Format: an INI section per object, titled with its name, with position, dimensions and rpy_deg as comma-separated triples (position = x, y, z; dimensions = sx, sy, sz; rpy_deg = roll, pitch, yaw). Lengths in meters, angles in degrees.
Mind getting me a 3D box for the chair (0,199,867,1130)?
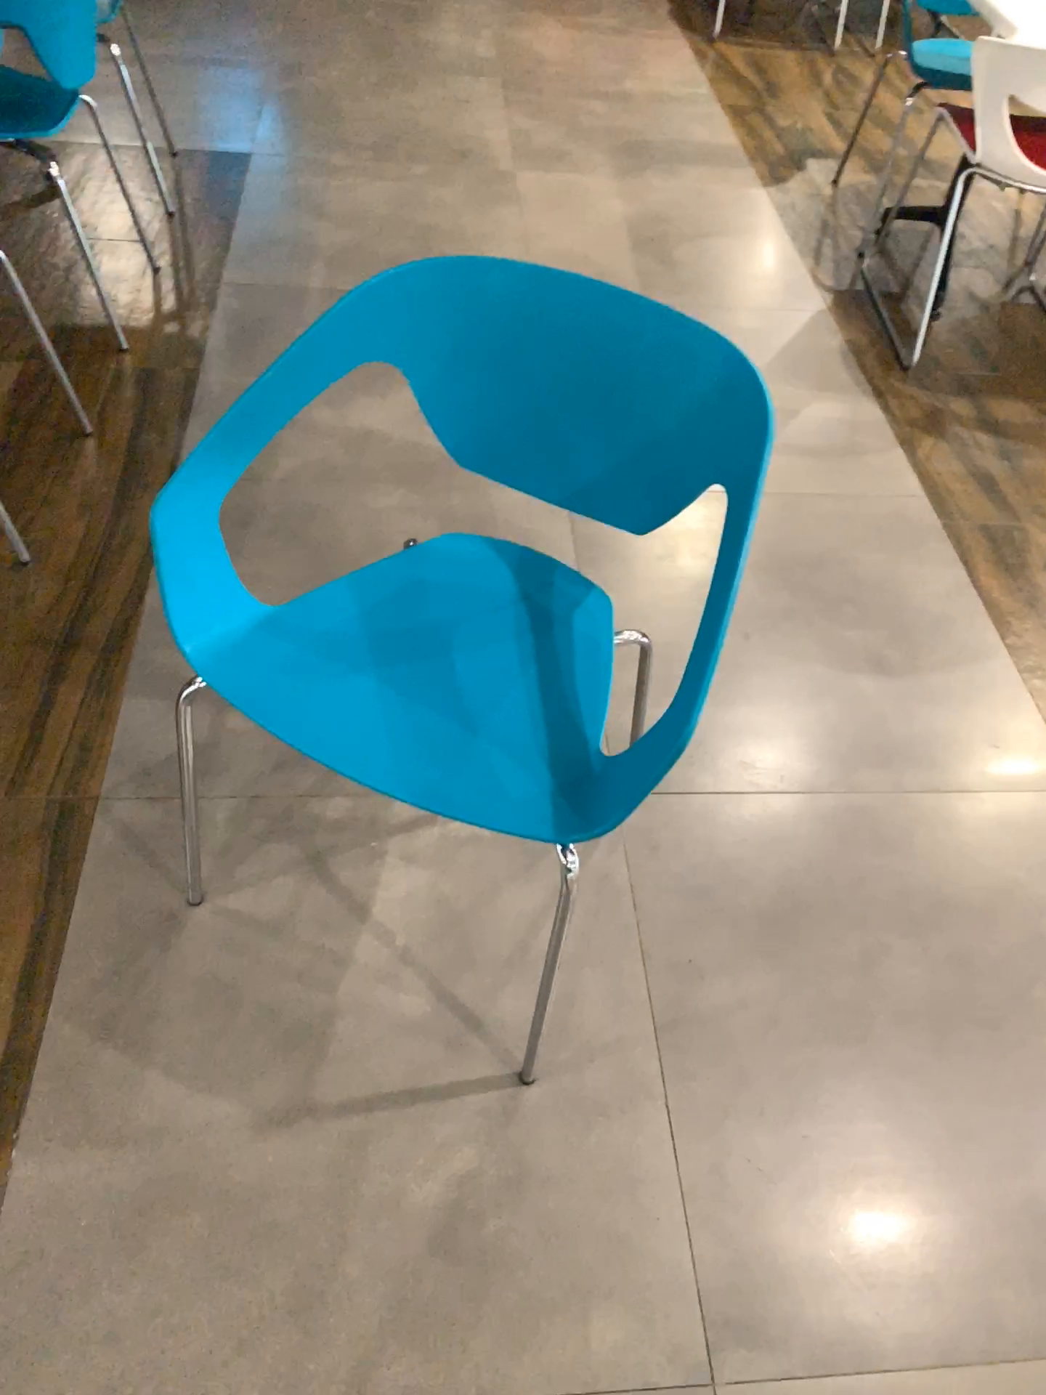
[chair]
position = -0.081, -0.040, 1.259
dimensions = 0.611, 0.724, 0.594
rpy_deg = 24, 49, 15
